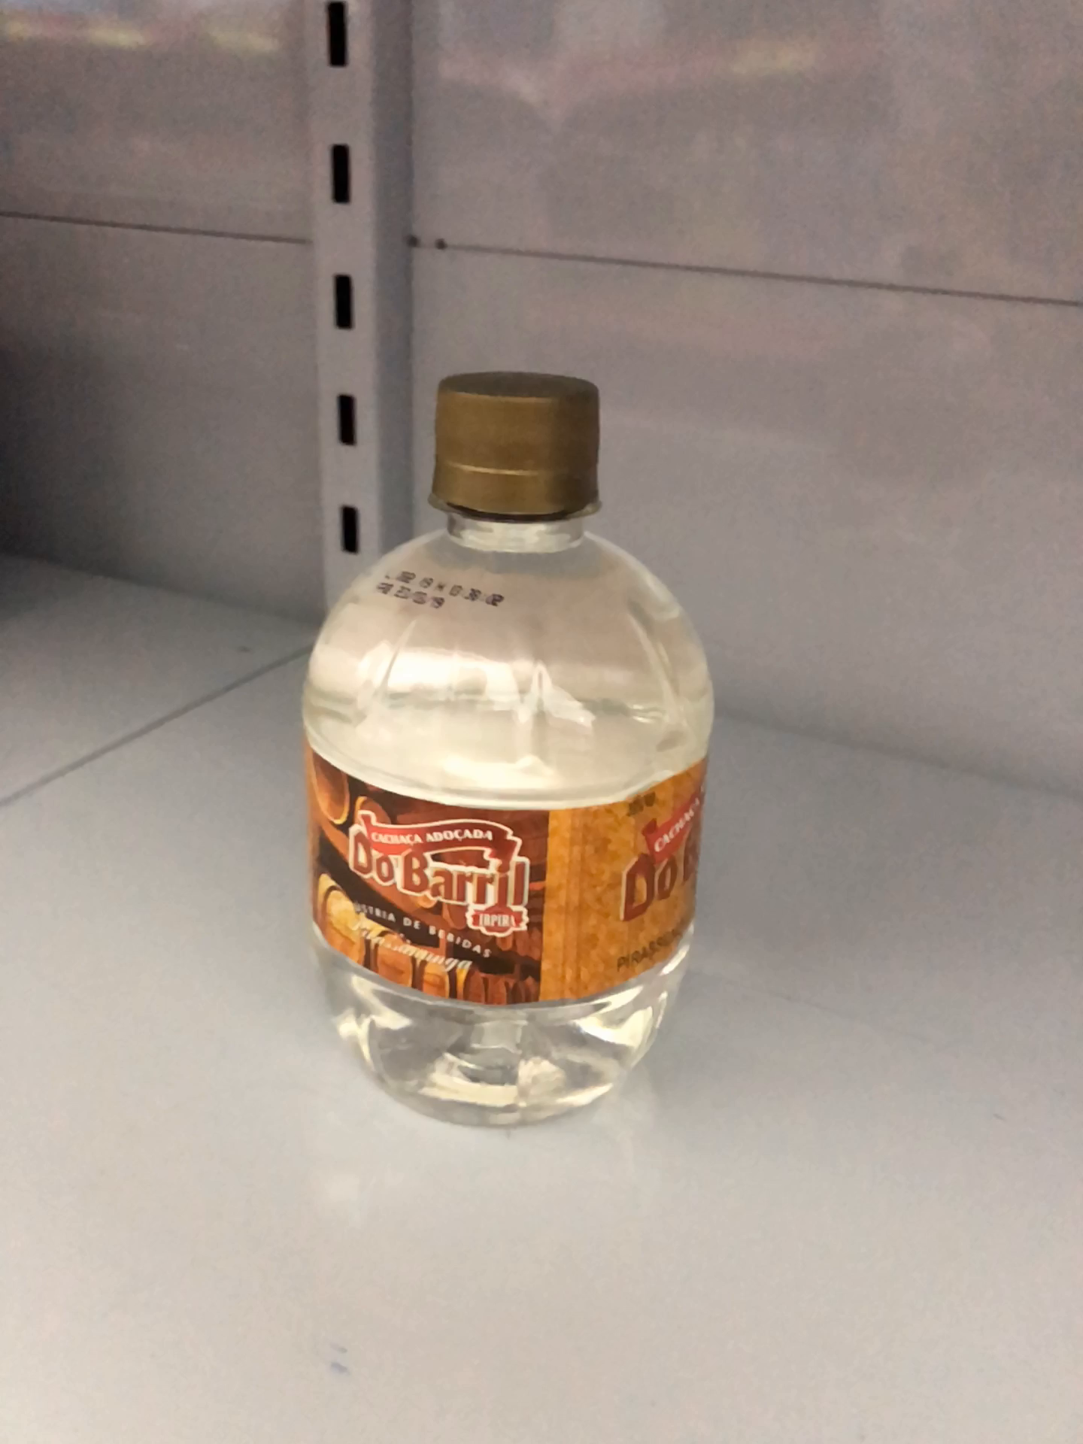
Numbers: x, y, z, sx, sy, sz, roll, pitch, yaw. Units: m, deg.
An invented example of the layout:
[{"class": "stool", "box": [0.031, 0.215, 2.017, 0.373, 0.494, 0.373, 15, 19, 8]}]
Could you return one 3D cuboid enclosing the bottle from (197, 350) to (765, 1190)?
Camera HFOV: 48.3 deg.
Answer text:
[{"class": "bottle", "box": [-0.008, 0.004, 0.248, 0.080, 0.139, 0.081, 2, 24, -1]}]
